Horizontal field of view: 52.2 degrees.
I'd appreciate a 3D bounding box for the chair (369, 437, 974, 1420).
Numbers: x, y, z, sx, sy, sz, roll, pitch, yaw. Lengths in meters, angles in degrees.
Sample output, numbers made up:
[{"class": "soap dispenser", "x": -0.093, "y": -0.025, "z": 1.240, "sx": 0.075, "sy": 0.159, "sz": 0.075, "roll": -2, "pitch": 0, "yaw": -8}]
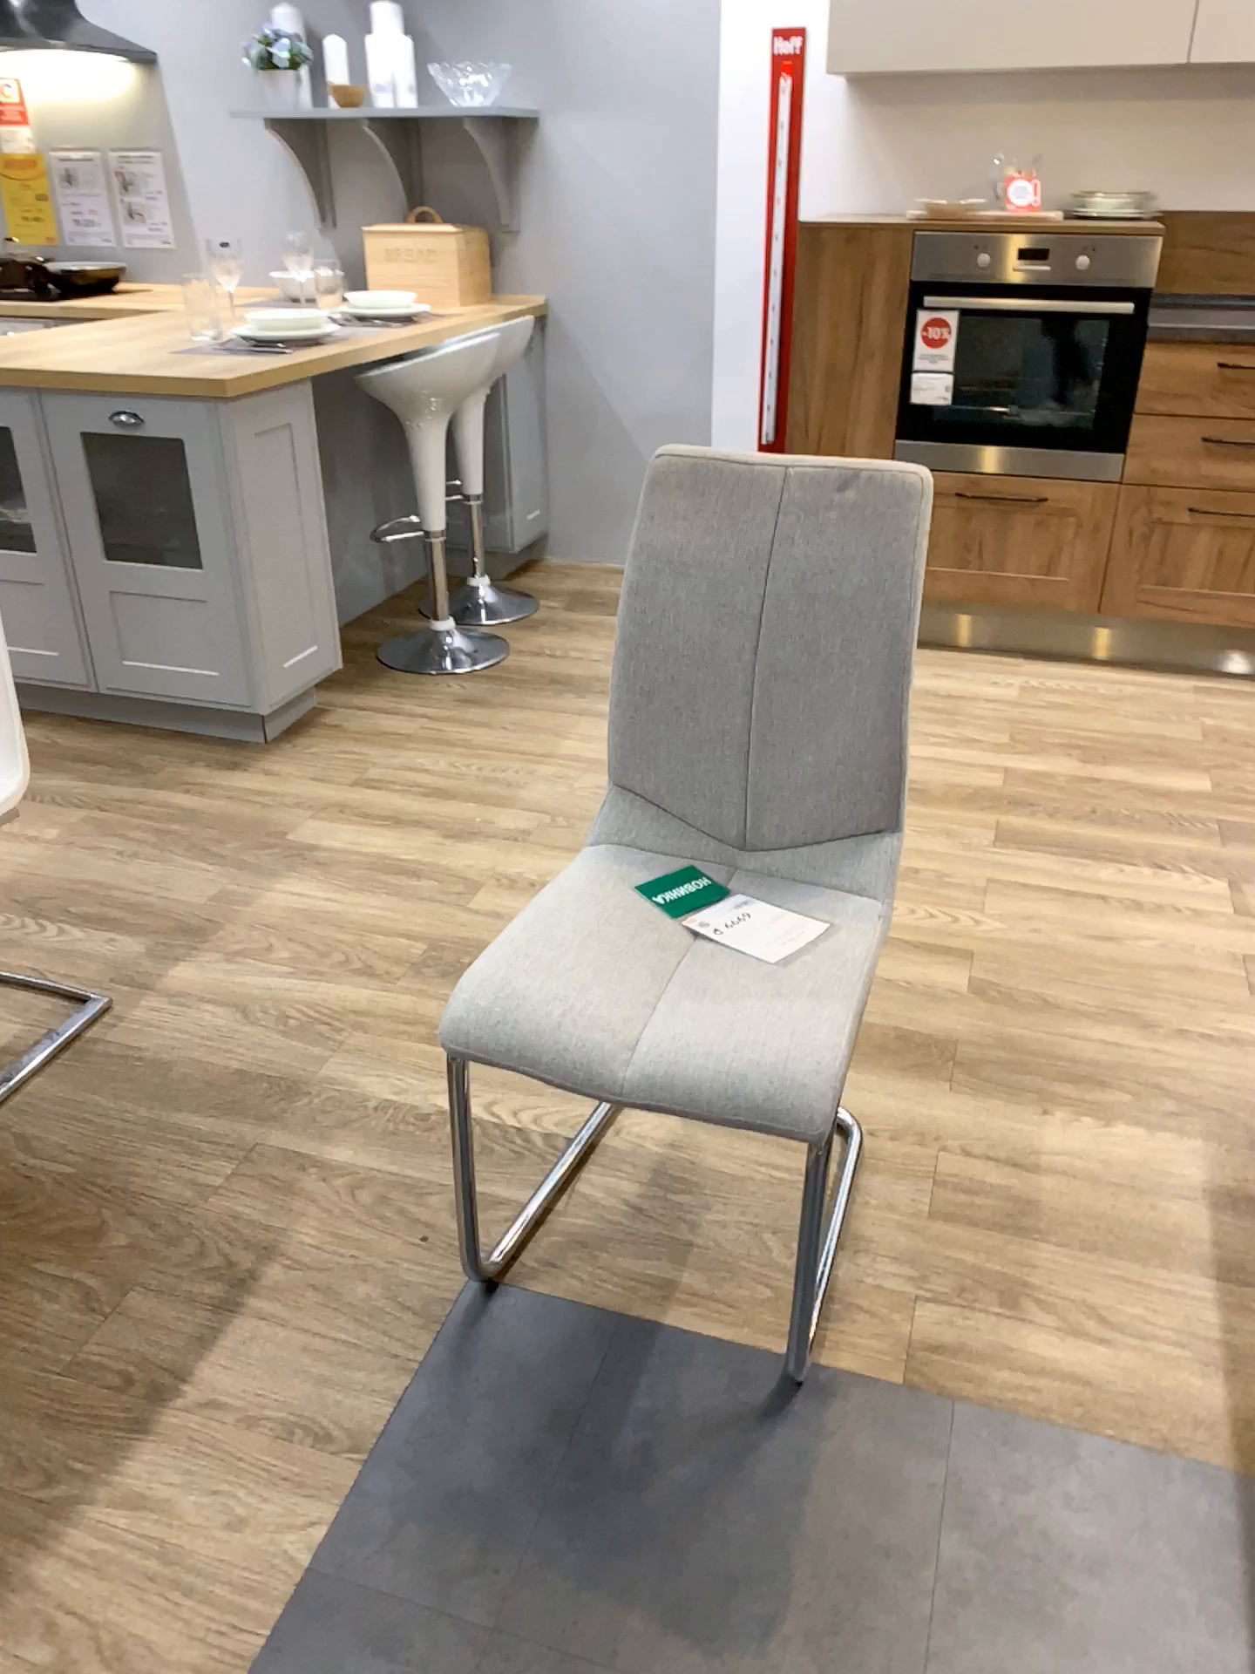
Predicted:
[{"class": "chair", "x": 0.085, "y": 0.077, "z": 1.587, "sx": 0.490, "sy": 0.984, "sz": 0.573, "roll": 9, "pitch": 28, "yaw": 18}]
